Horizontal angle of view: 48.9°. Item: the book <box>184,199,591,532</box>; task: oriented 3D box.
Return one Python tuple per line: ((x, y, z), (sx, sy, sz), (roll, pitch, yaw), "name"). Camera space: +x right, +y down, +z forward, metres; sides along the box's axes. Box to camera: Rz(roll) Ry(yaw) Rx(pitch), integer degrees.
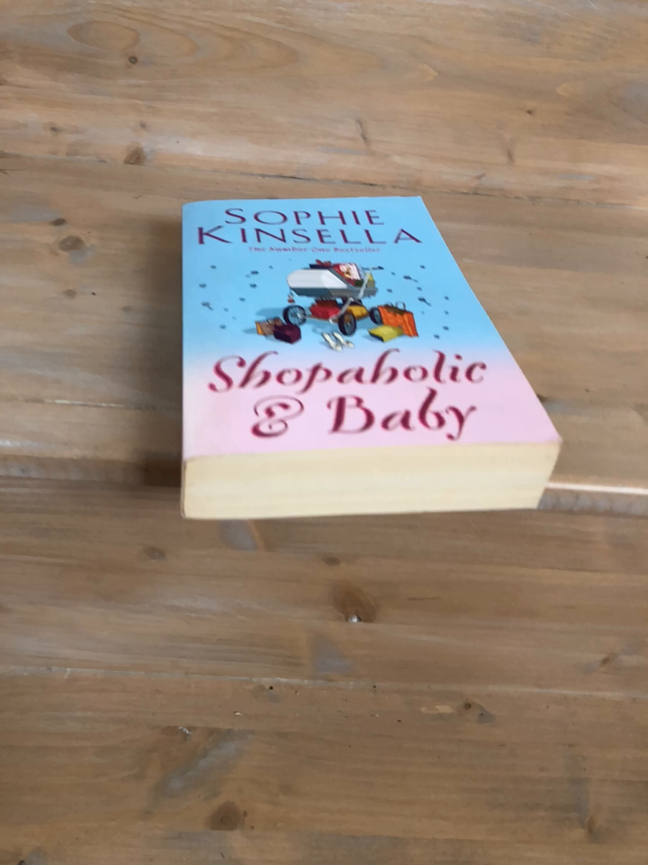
((0.006, -0.049, 0.315), (0.131, 0.031, 0.212), (-3, 39, -9), "book")
